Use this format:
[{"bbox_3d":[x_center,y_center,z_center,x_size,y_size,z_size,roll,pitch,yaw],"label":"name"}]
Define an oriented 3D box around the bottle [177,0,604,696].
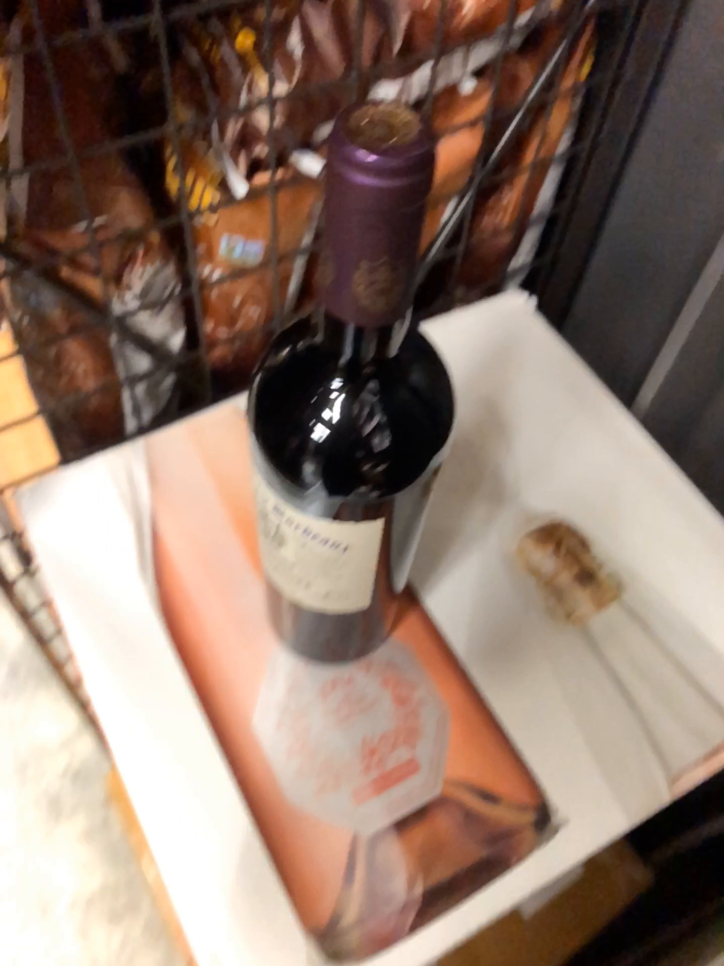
[{"bbox_3d":[-0.001,-0.019,0.329,0.085,0.290,0.073,-38,66,-26],"label":"bottle"}]
